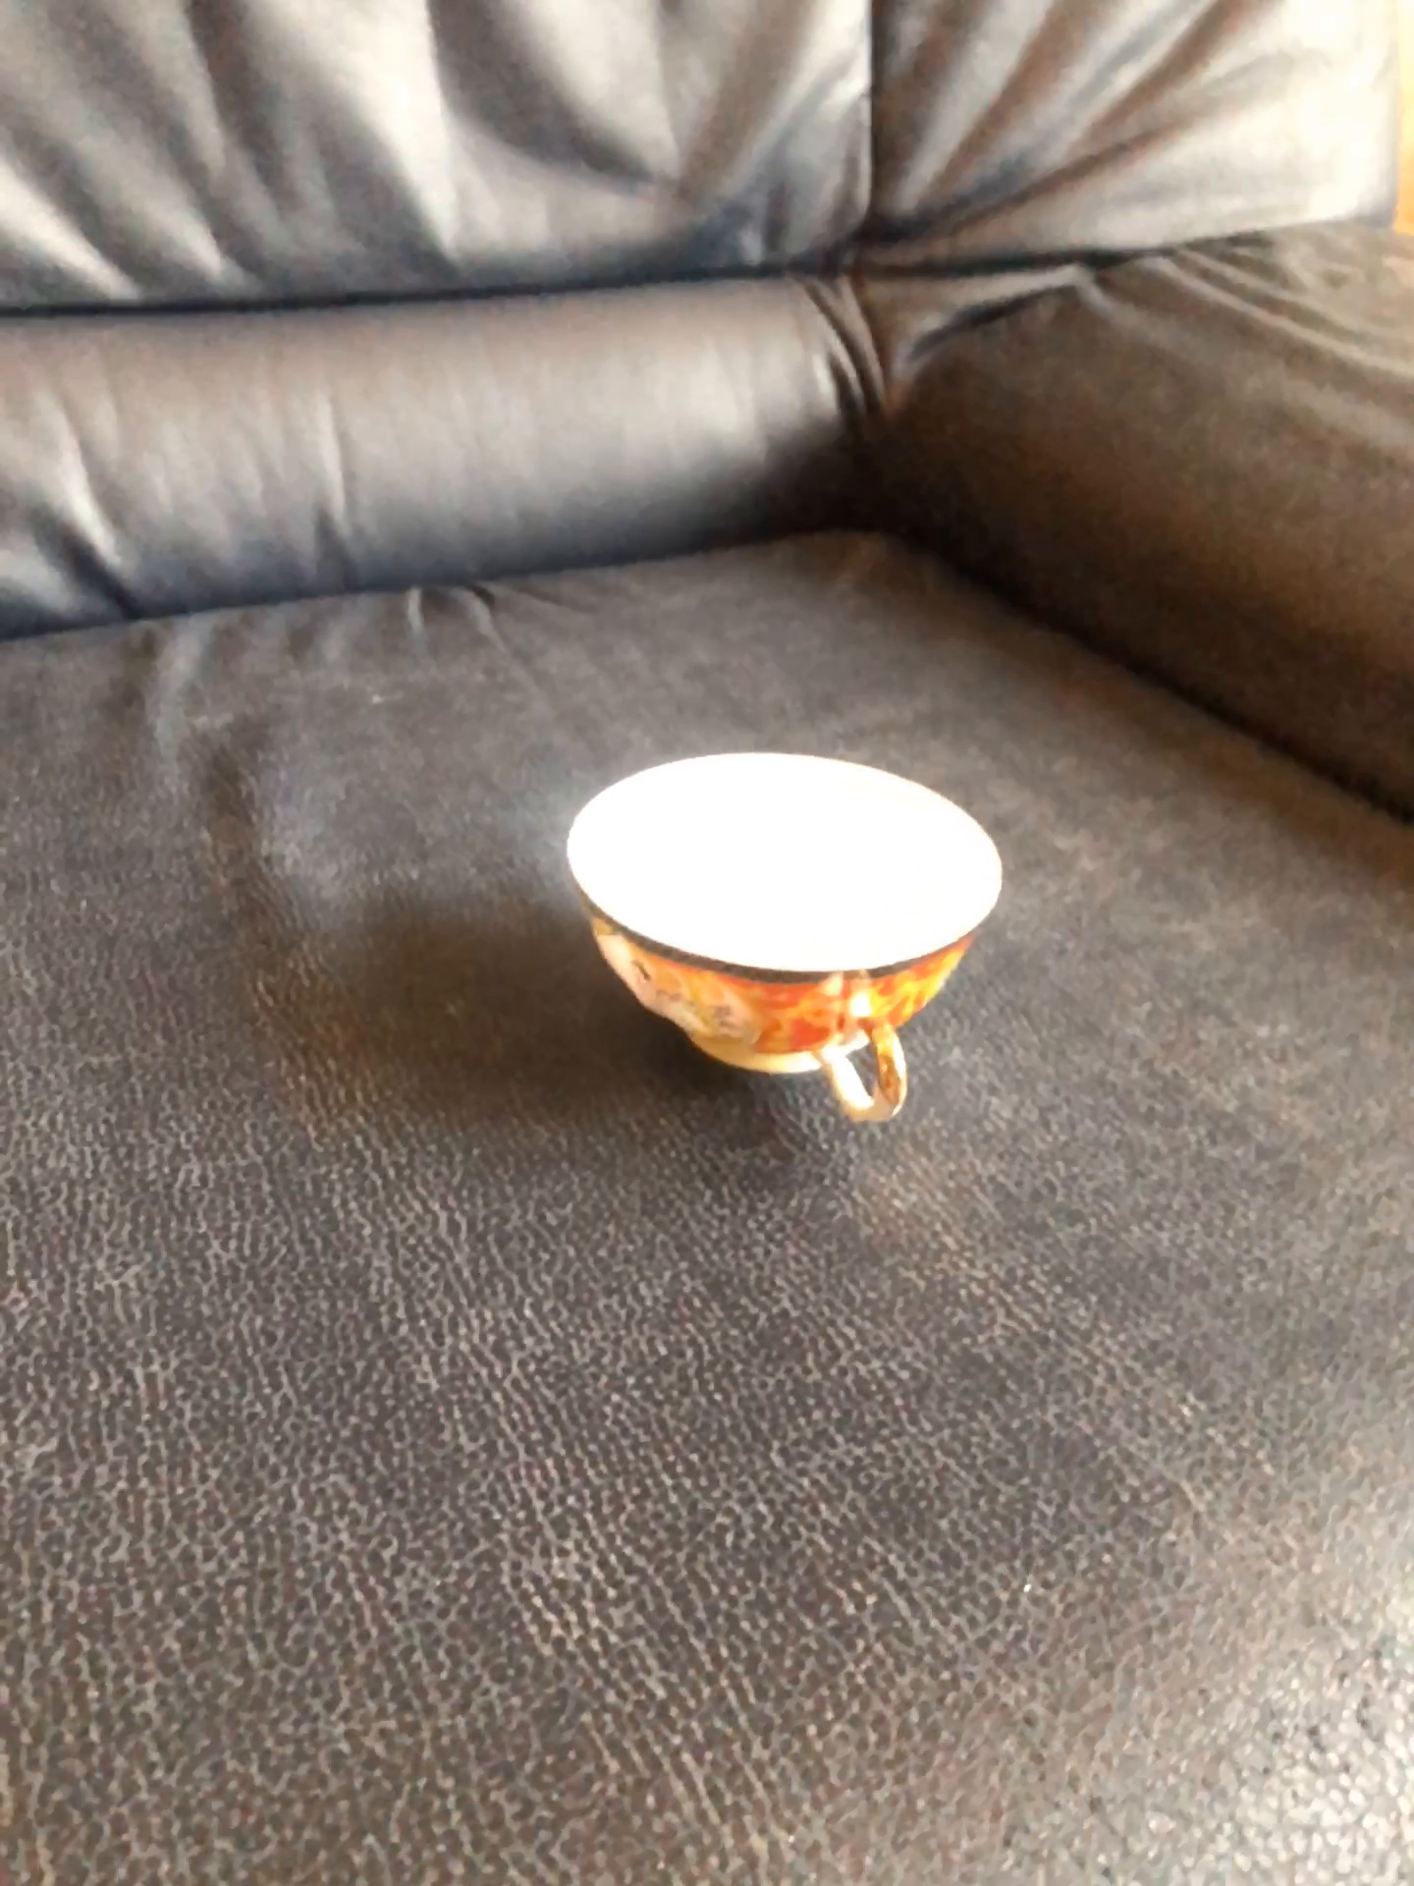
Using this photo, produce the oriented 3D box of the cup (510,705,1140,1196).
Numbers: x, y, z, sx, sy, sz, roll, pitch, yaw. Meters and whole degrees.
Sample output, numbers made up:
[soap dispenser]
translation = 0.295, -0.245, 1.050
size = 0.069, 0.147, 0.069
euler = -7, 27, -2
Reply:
[cup]
translation = 0.020, -0.006, 0.354
size = 0.100, 0.041, 0.108
euler = 3, 34, -2
